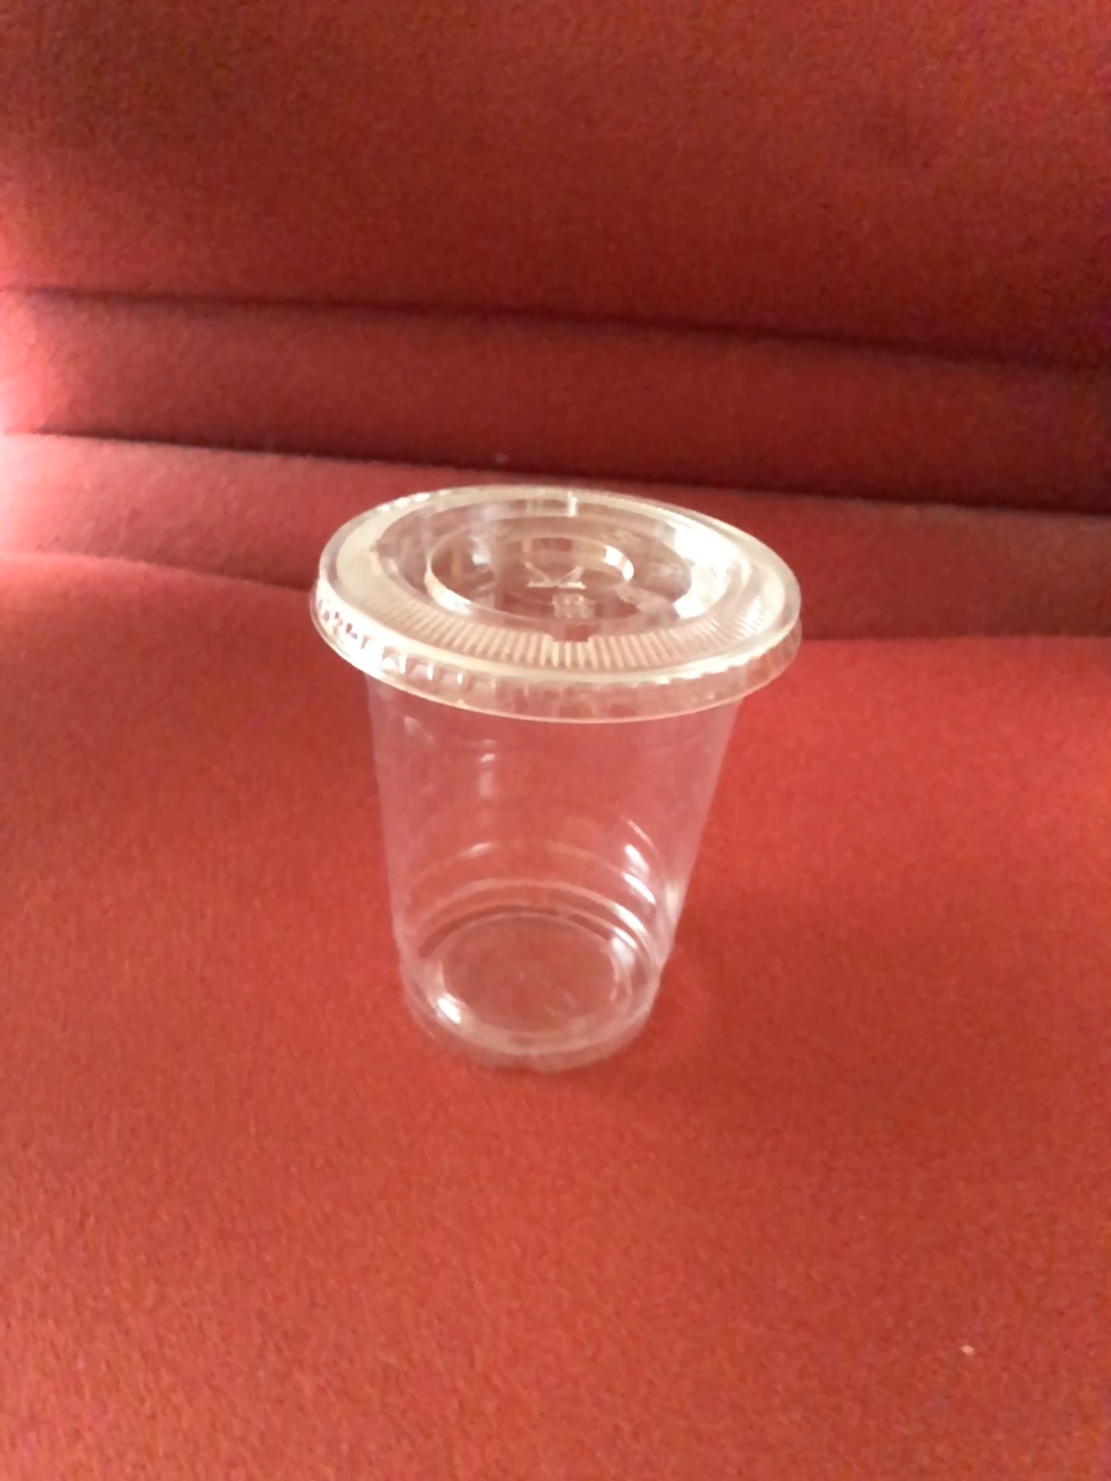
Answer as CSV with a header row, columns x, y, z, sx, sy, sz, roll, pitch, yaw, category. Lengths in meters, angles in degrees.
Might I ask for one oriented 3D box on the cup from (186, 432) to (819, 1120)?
x,y,z,sx,sy,sz,roll,pitch,yaw,category
-0.004,0.000,0.259,0.100,0.090,0.100,4,30,-2,cup
